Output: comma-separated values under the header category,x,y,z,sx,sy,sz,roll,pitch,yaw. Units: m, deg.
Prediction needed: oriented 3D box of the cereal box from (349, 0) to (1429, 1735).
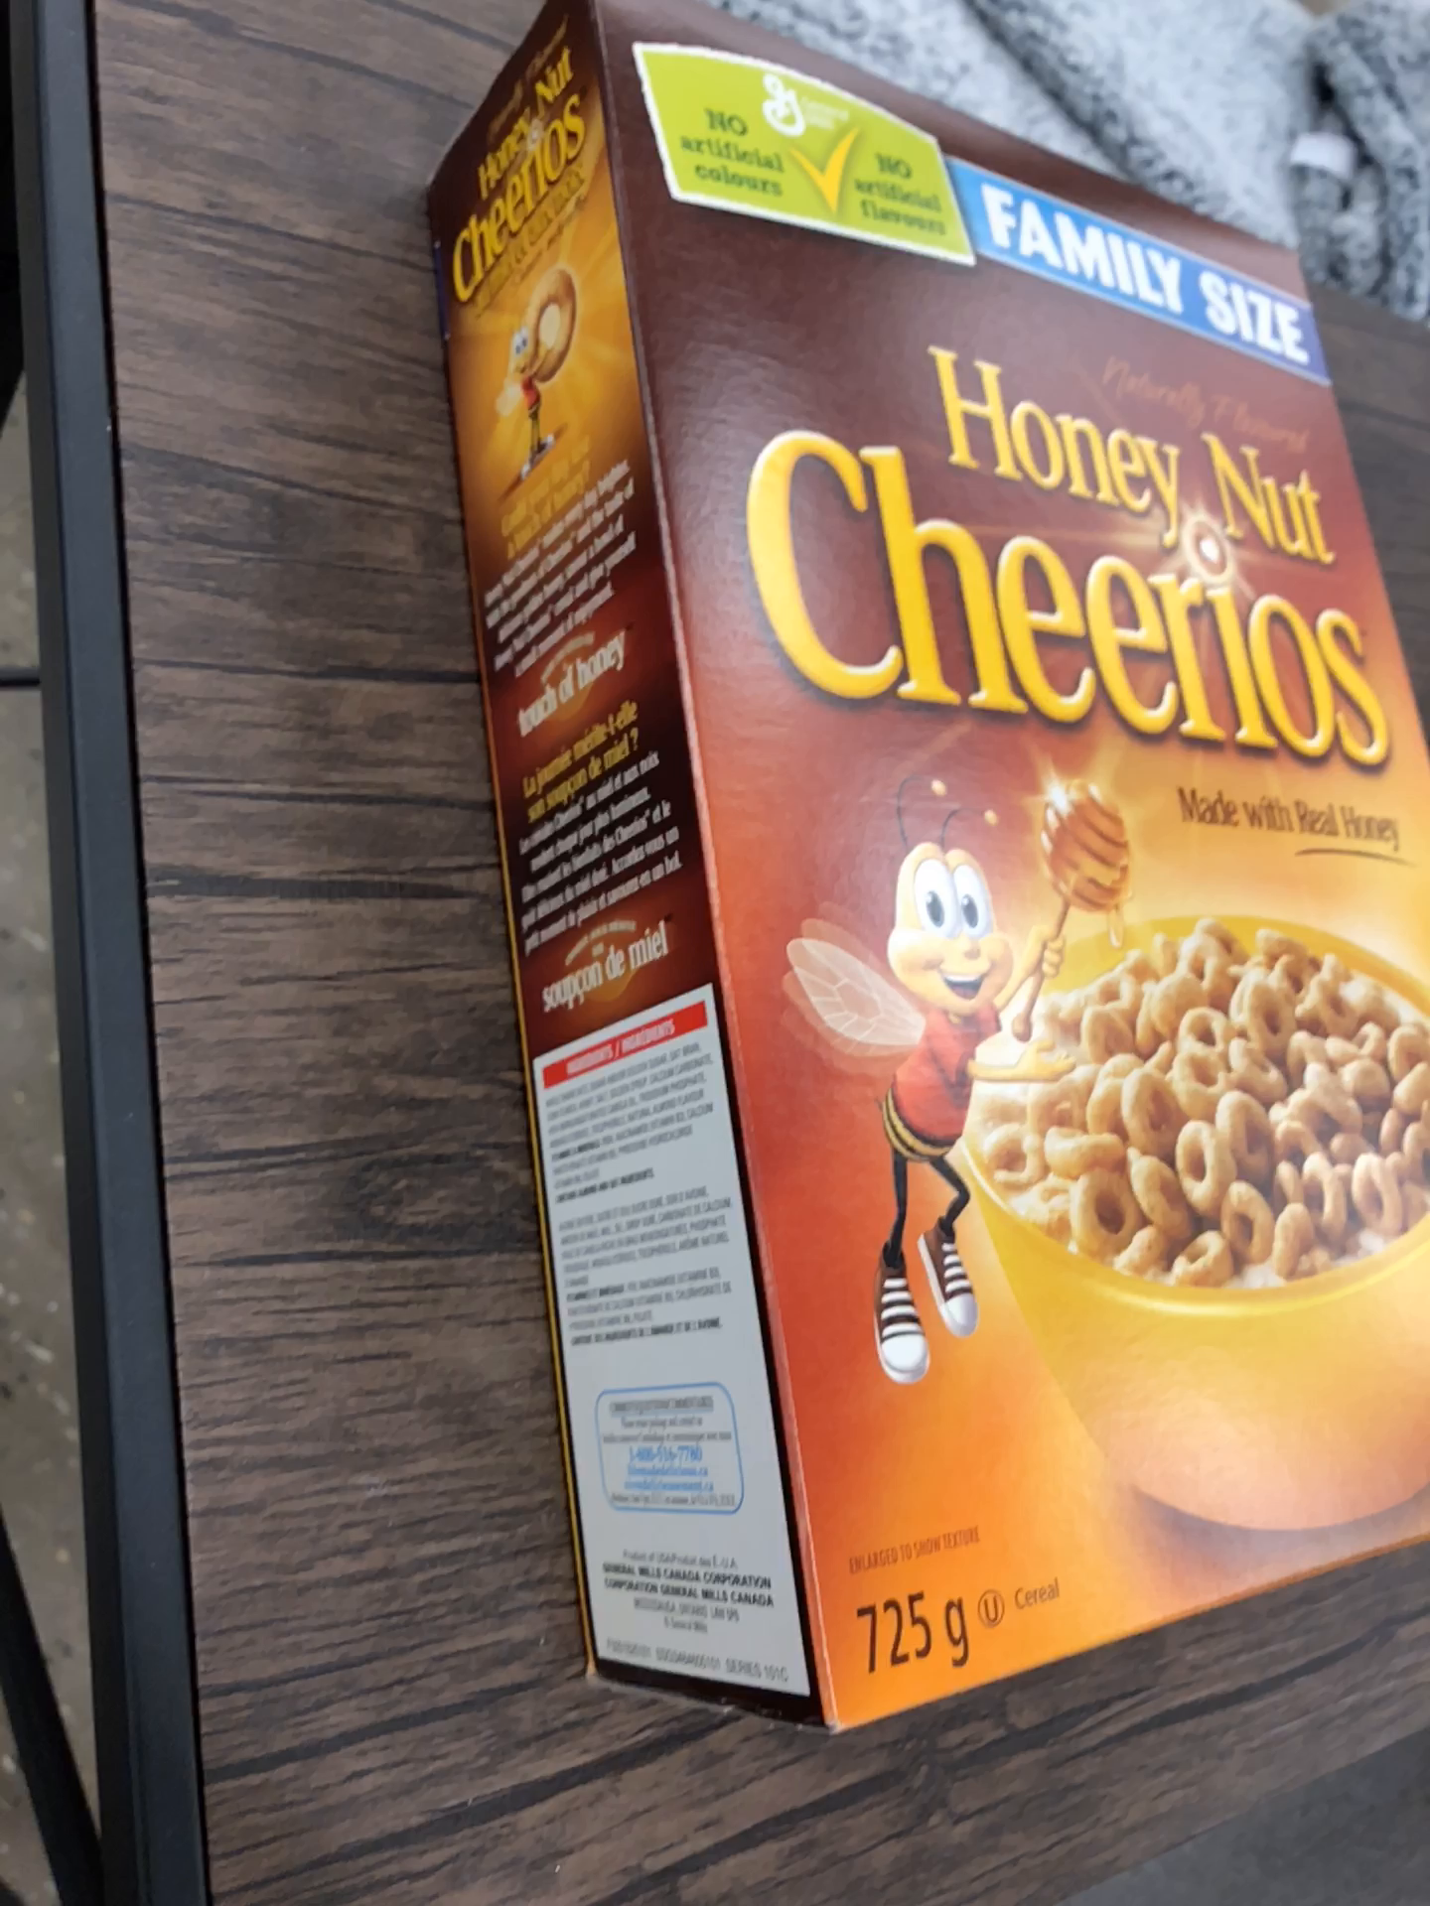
category,x,y,z,sx,sy,sz,roll,pitch,yaw
cereal box,0.062,-0.052,0.388,0.251,0.080,0.380,1,74,-33
